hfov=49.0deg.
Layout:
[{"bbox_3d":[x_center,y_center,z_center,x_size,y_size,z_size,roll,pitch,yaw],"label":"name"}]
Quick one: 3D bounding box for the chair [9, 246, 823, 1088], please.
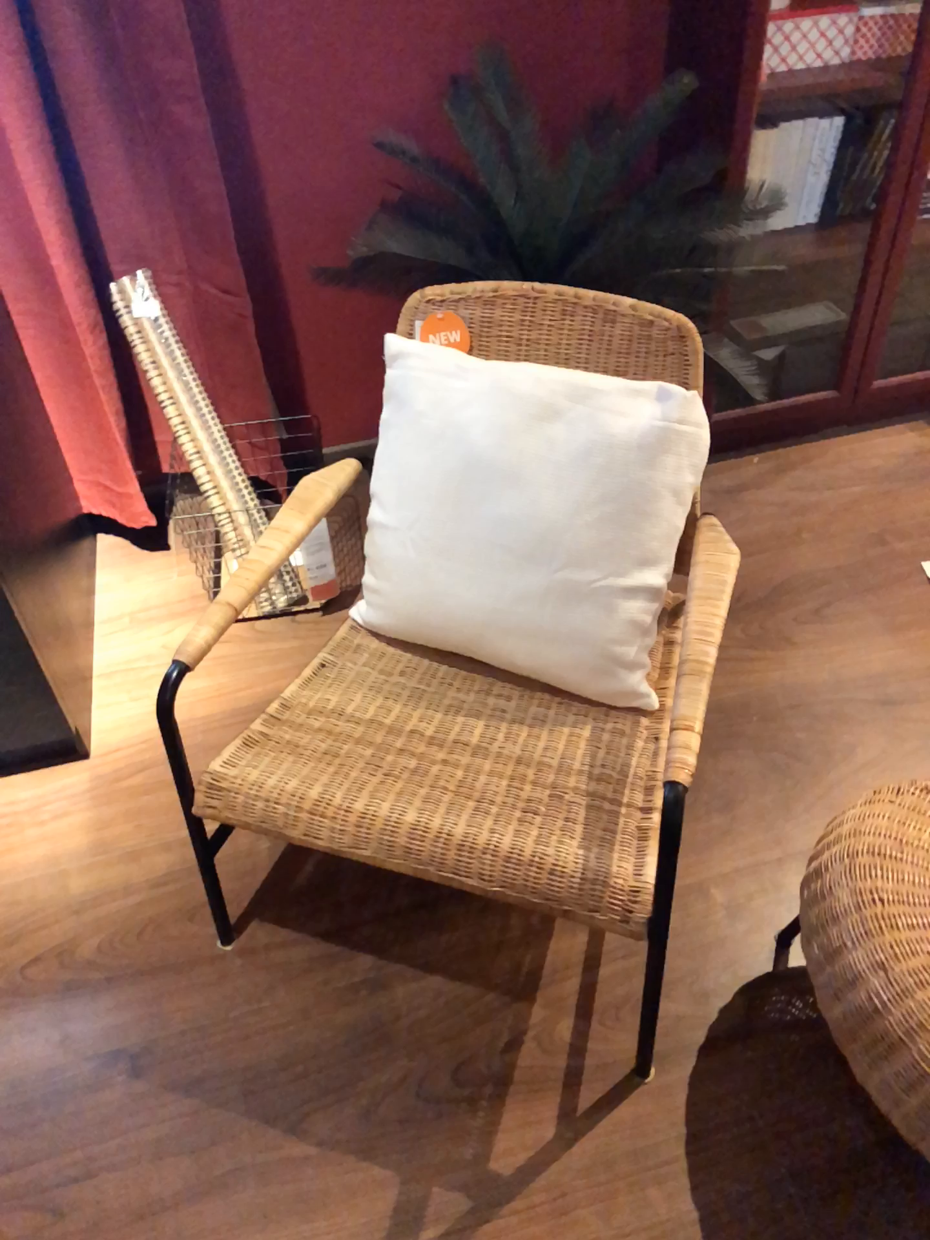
[{"bbox_3d":[0.022,0.029,1.310,0.671,0.705,0.664,11,45,15],"label":"chair"}]
